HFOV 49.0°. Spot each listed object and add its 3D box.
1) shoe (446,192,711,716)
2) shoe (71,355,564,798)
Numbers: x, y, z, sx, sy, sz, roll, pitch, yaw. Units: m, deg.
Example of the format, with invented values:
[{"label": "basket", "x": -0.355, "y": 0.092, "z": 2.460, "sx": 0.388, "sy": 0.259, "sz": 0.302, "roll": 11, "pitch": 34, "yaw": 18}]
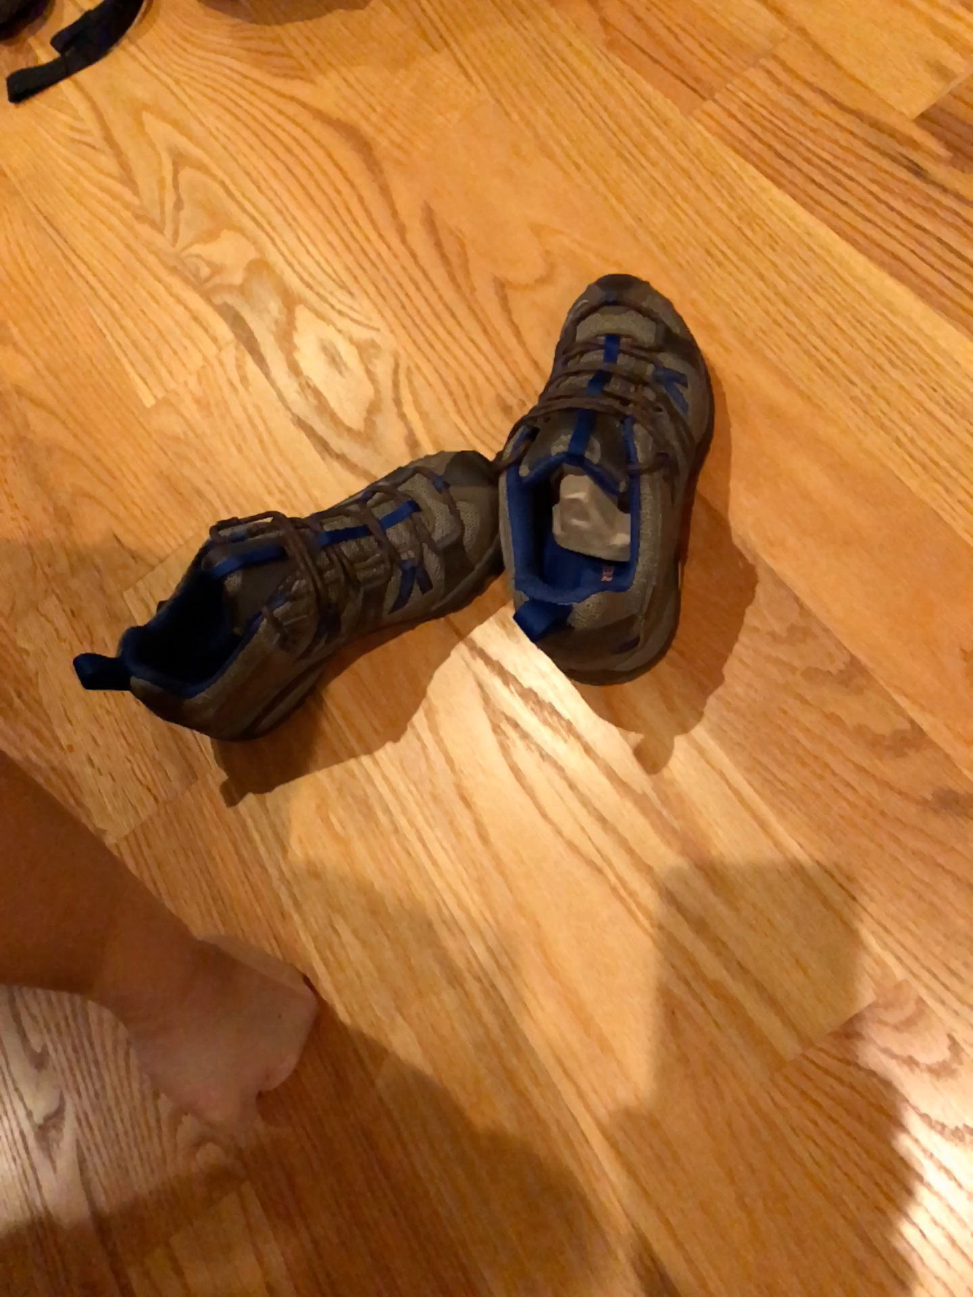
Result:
[{"label": "shoe", "x": 0.057, "y": -0.100, "z": 0.565, "sx": 0.097, "sy": 0.094, "sz": 0.252, "roll": 0, "pitch": 70, "yaw": 20}, {"label": "shoe", "x": -0.092, "y": -0.034, "z": 0.606, "sx": 0.240, "sy": 0.106, "sz": 0.095, "roll": -36, "pitch": 62, "yaw": 4}]
